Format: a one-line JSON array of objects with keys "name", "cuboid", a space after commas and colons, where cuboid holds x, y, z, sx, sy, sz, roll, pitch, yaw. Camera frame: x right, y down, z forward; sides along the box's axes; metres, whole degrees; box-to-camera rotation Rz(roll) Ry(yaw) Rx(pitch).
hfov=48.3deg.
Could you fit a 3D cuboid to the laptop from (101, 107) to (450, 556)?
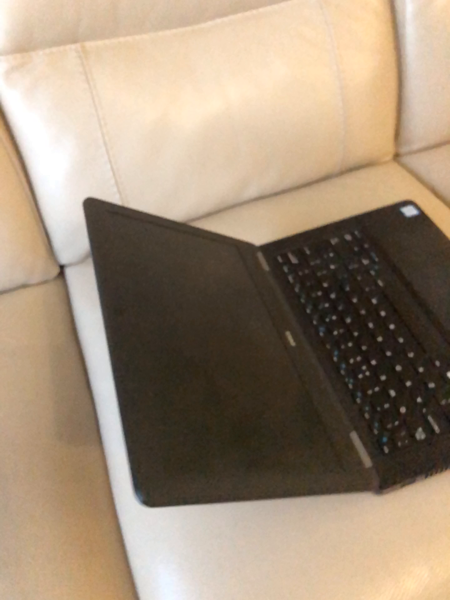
[{"name": "laptop", "cuboid": [0.100, 0.001, 0.467, 0.374, 0.124, 0.307, -18, 50, -4]}]
